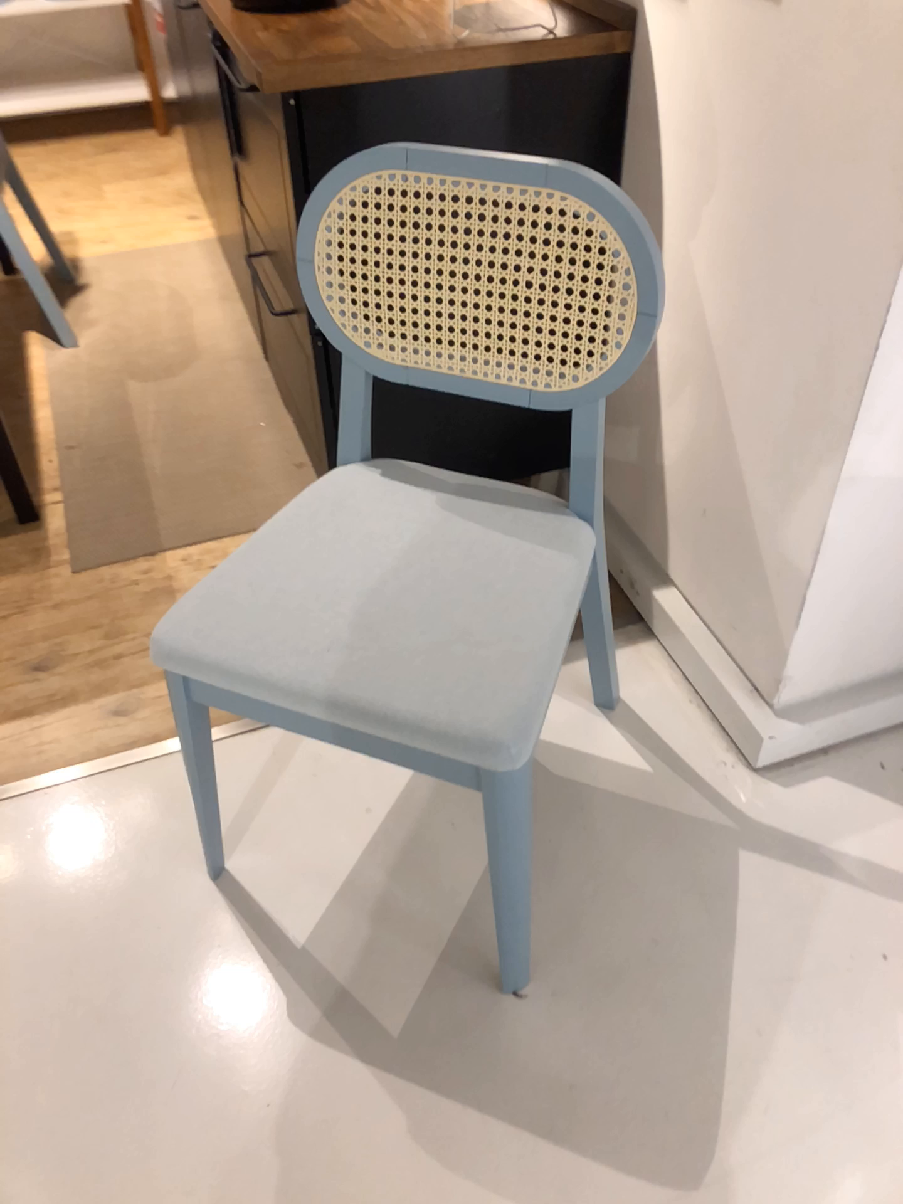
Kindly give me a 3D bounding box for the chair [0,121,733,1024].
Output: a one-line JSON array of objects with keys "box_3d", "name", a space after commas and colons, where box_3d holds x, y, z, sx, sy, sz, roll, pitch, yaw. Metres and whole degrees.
[{"box_3d": [-0.029, -0.031, 1.191, 0.481, 0.823, 0.564, 15, 45, 18], "name": "chair"}]
